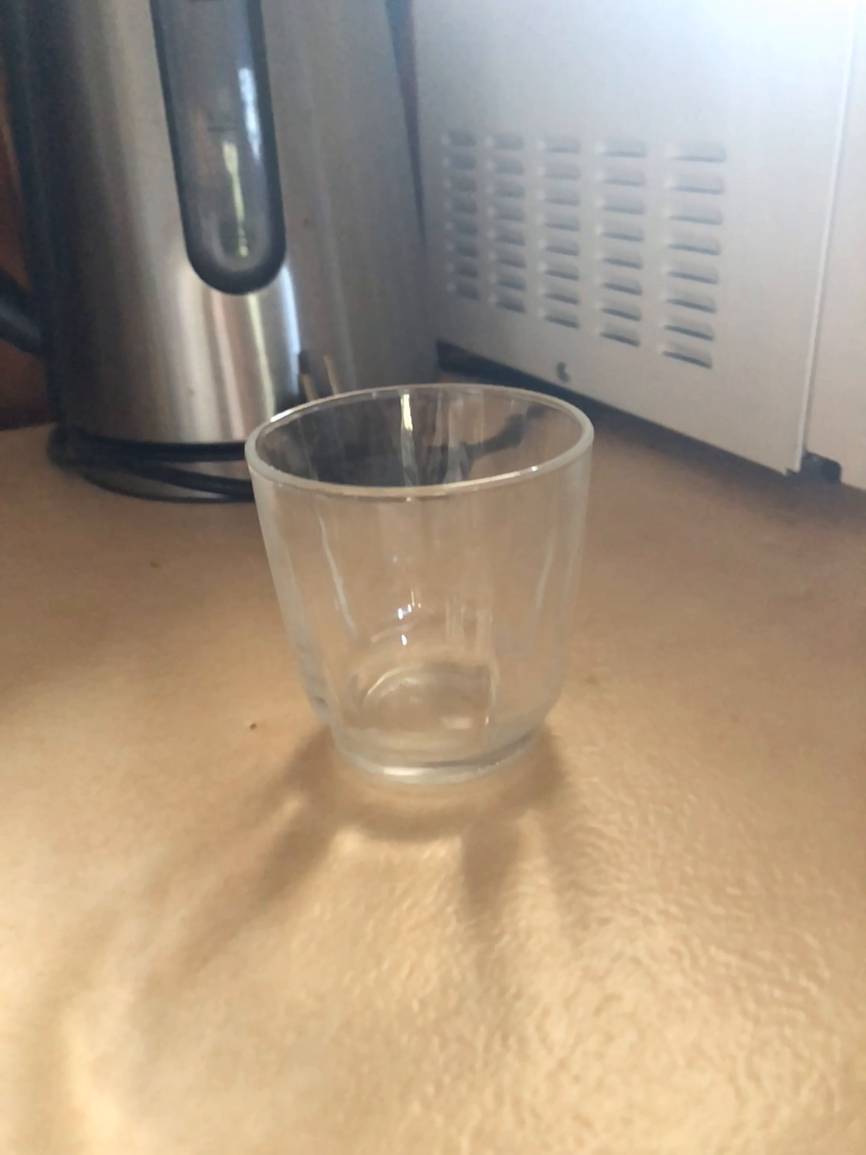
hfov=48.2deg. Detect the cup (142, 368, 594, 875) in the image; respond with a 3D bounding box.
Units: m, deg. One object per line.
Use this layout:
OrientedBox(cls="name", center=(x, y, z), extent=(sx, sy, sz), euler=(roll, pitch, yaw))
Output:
OrientedBox(cls="cup", center=(-0.007, 0.004, 0.213), extent=(0.070, 0.080, 0.070), euler=(-2, 26, 1))
